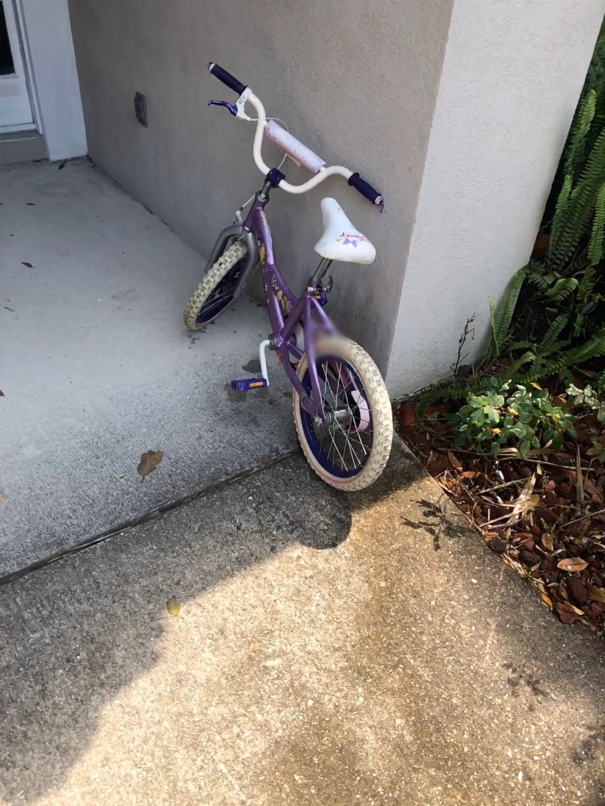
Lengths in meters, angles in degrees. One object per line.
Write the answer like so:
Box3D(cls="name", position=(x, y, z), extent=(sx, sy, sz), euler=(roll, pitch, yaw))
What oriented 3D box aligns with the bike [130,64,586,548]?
Box3D(cls="bike", position=(0.037, -0.300, 1.674), extent=(0.616, 0.816, 0.850), euler=(-16, 43, -24))
